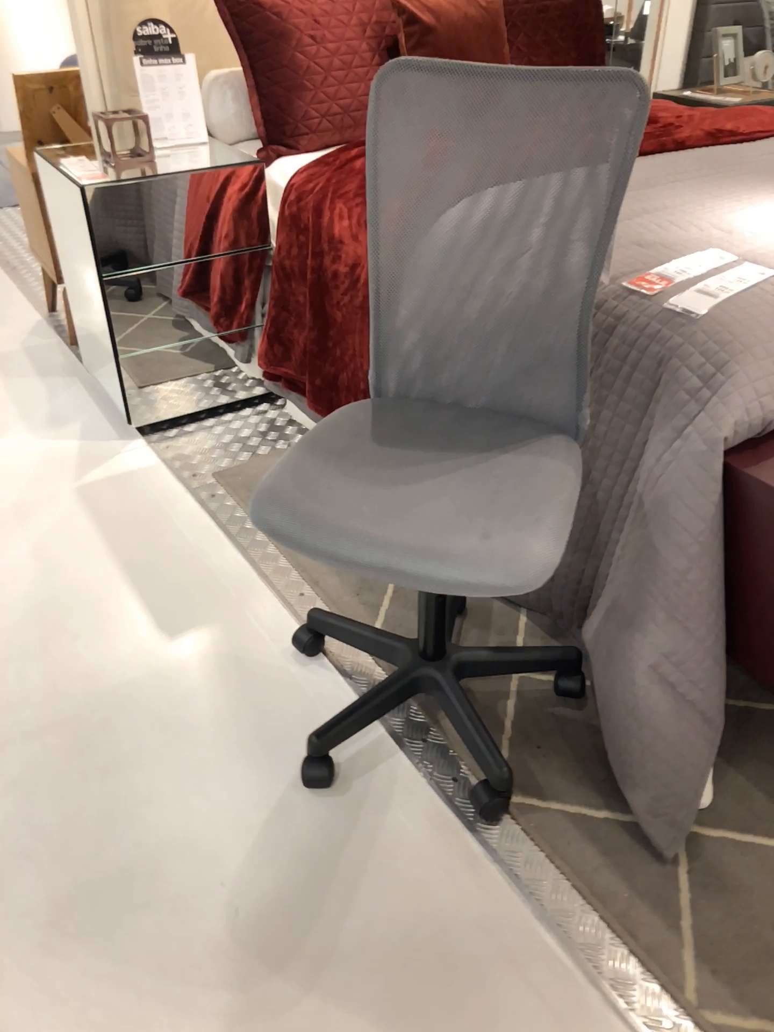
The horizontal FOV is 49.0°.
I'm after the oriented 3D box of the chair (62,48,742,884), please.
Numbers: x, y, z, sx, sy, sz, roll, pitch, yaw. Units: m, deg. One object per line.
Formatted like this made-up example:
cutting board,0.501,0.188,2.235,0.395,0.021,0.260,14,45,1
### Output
chair,0.070,-0.115,1.261,0.561,0.942,0.644,17,38,25
